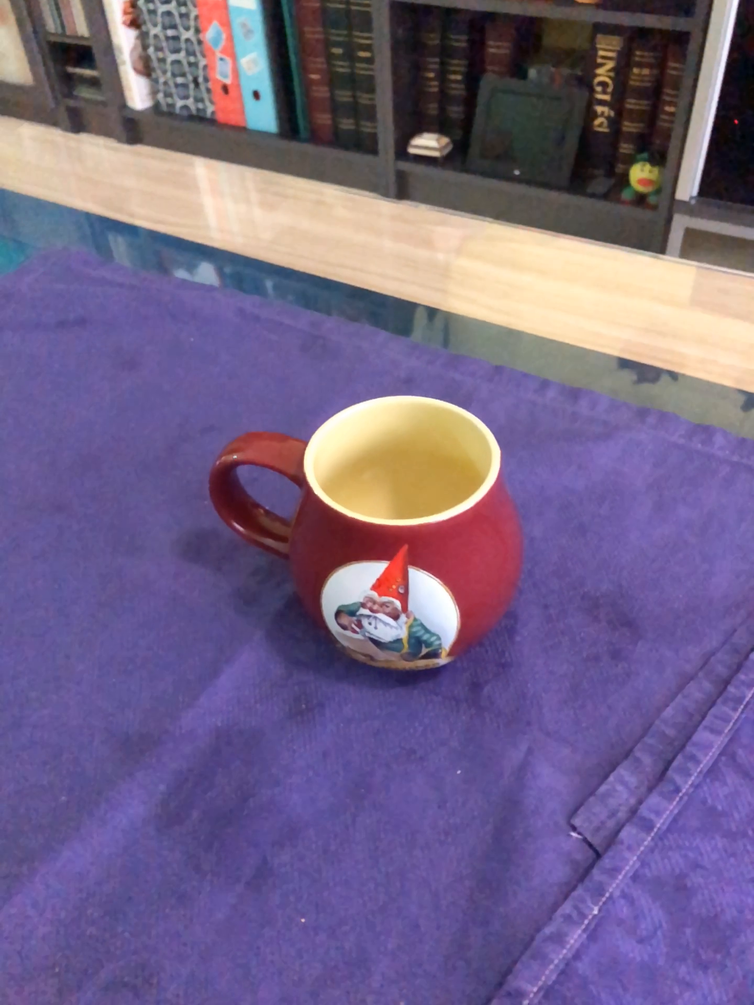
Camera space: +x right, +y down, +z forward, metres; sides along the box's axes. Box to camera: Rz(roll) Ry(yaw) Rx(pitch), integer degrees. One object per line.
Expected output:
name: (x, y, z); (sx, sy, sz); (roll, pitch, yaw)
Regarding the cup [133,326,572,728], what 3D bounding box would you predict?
cup: (-0.003, 0.005, 0.302); (0.120, 0.090, 0.080); (13, 46, 18)
